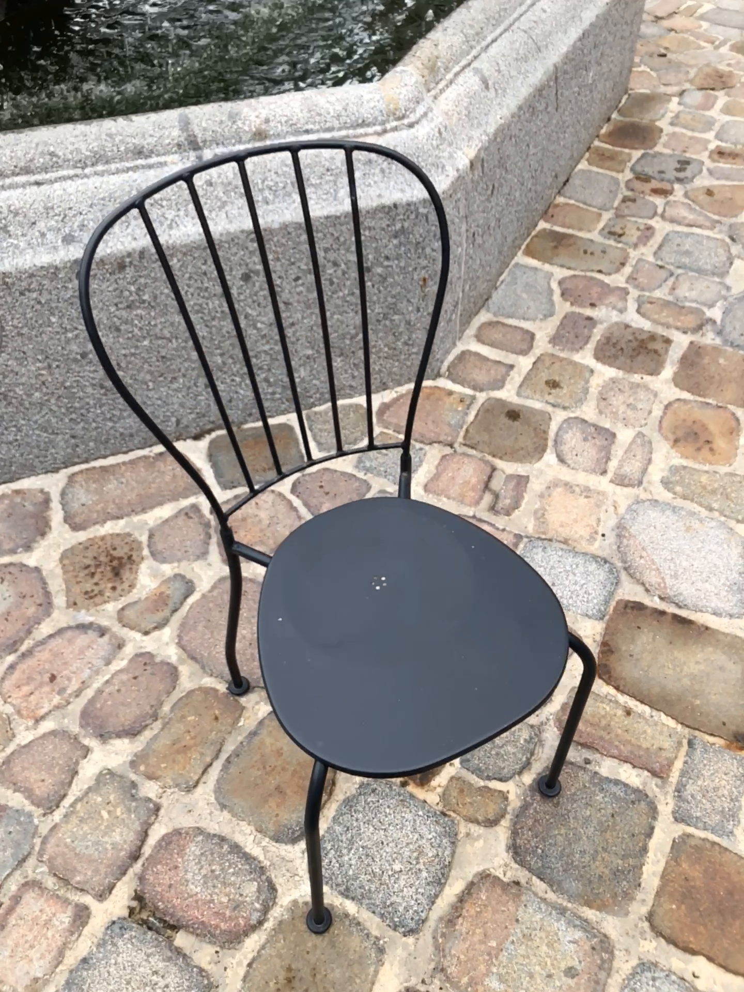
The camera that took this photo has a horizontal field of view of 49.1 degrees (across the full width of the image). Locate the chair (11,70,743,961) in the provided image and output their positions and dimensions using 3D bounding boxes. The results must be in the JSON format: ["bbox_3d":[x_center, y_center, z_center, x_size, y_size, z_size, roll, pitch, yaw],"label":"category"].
[{"bbox_3d":[-0.003,0.069,0.903,0.421,0.796,0.471,-22,51,-18],"label":"chair"}]
